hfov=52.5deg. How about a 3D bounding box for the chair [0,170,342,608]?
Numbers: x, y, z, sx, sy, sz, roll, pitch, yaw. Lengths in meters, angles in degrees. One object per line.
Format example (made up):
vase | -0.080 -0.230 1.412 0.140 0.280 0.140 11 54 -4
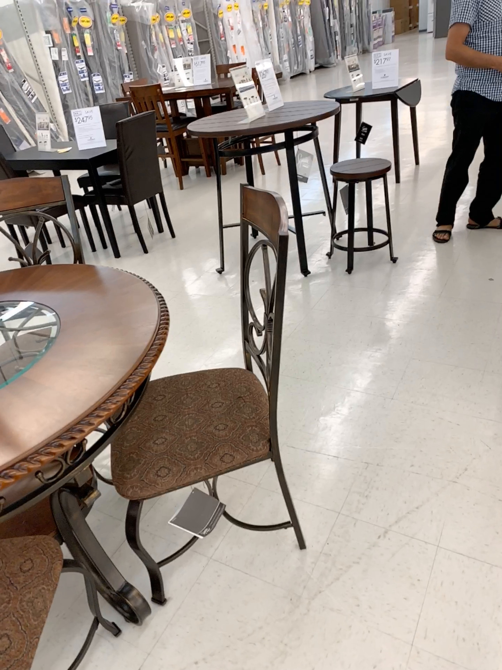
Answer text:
chair | -0.138 0.151 1.400 0.580 0.975 0.523 -12 30 -4
